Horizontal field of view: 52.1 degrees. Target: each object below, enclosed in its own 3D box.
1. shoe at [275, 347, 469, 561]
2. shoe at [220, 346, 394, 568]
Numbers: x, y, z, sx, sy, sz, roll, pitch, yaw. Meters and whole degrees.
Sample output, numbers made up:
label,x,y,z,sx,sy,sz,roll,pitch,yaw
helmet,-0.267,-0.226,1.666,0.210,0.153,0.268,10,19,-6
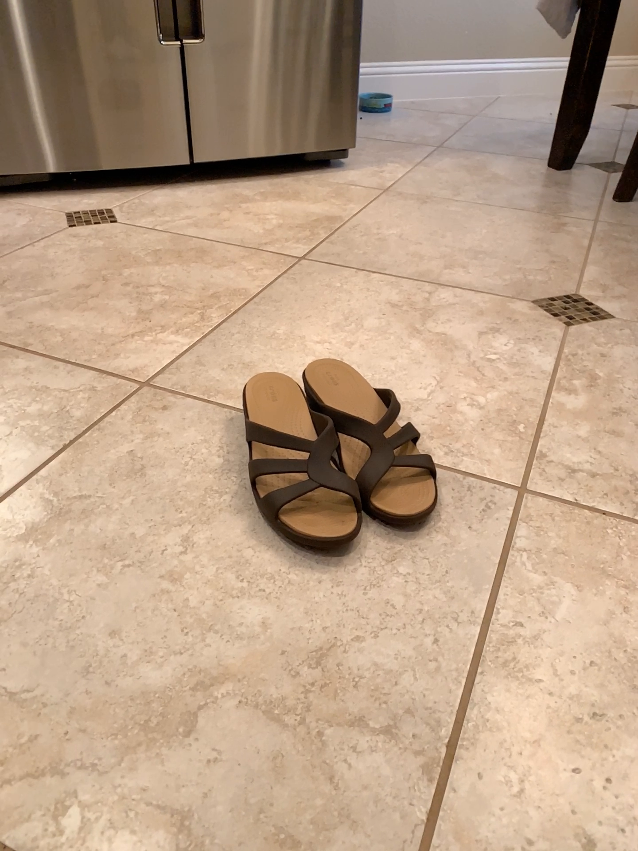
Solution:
label,x,y,z,sx,sy,sz,roll,pitch,yaw
shoe,0.046,0.018,0.758,0.110,0.092,0.265,-13,37,-20
shoe,-0.025,0.019,0.719,0.110,0.092,0.260,-10,37,-16
